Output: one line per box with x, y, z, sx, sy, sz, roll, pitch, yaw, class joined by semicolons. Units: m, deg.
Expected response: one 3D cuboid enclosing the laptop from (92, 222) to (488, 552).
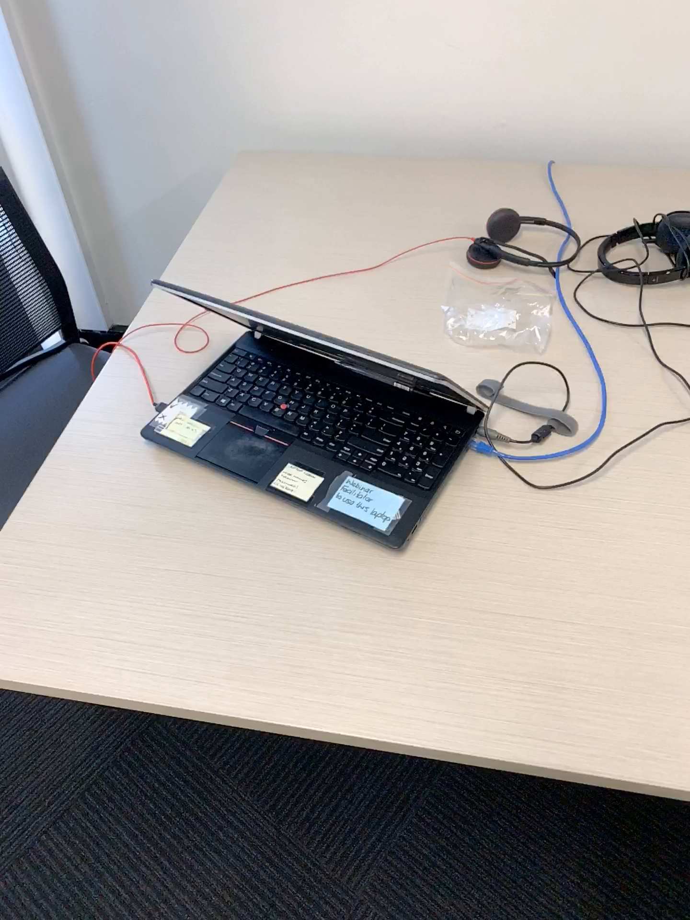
-0.047;-0.096;0.735;0.326;0.157;0.227;21;48;23;laptop
